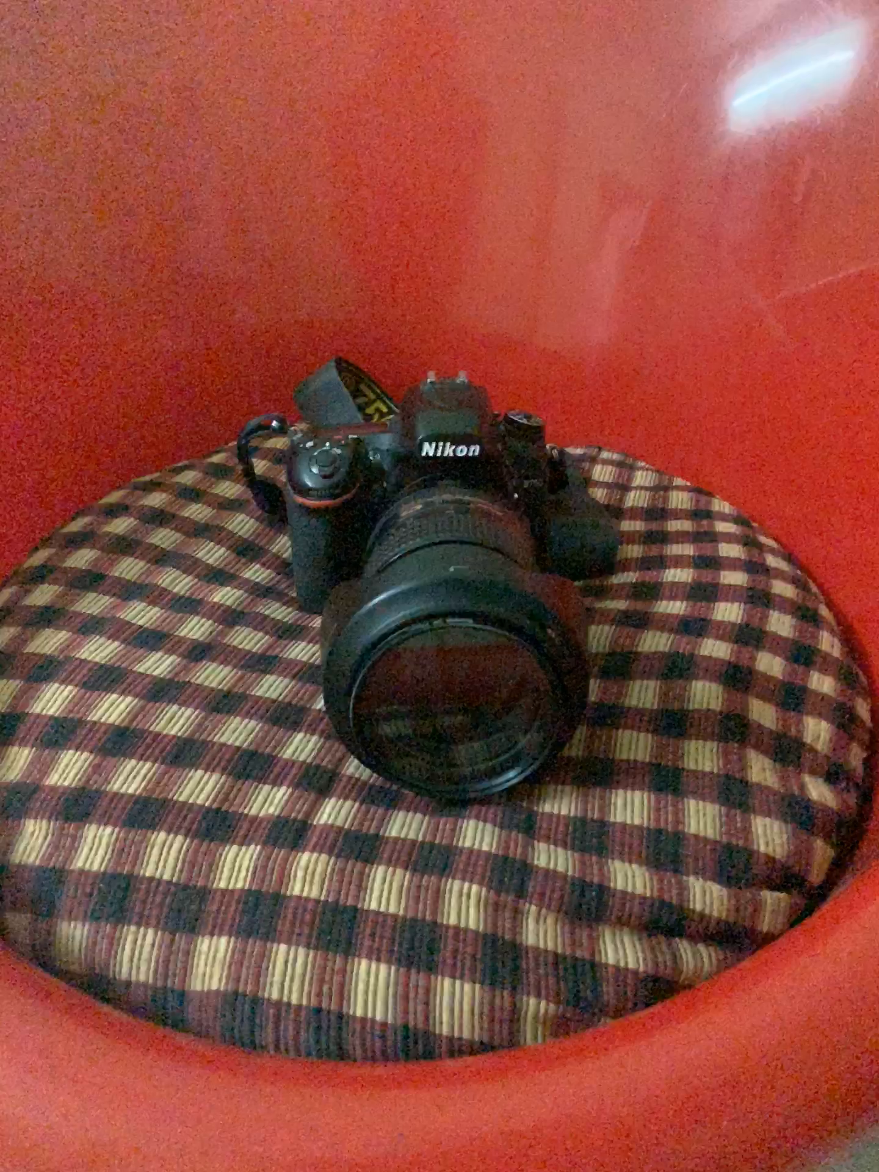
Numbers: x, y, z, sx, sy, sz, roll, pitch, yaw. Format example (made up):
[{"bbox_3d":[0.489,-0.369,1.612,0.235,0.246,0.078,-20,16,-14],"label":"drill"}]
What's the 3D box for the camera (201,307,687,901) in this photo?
[{"bbox_3d":[-0.002,-0.008,0.452,0.160,0.179,0.253,0,36,-2],"label":"camera"}]
